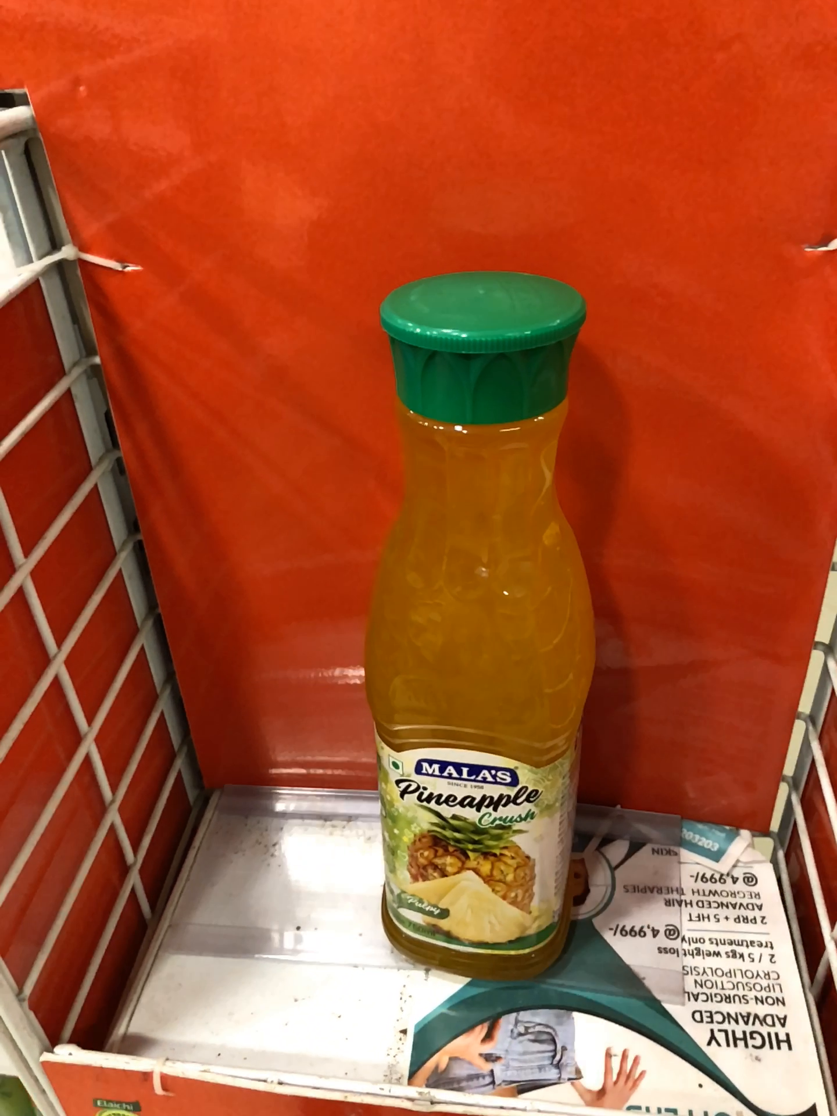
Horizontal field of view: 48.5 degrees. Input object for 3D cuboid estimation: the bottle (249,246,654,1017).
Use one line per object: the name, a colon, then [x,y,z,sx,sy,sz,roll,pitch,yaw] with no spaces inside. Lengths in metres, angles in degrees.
bottle: [0.020,0.039,0.305,0.090,0.258,0.070,4,35,12]
